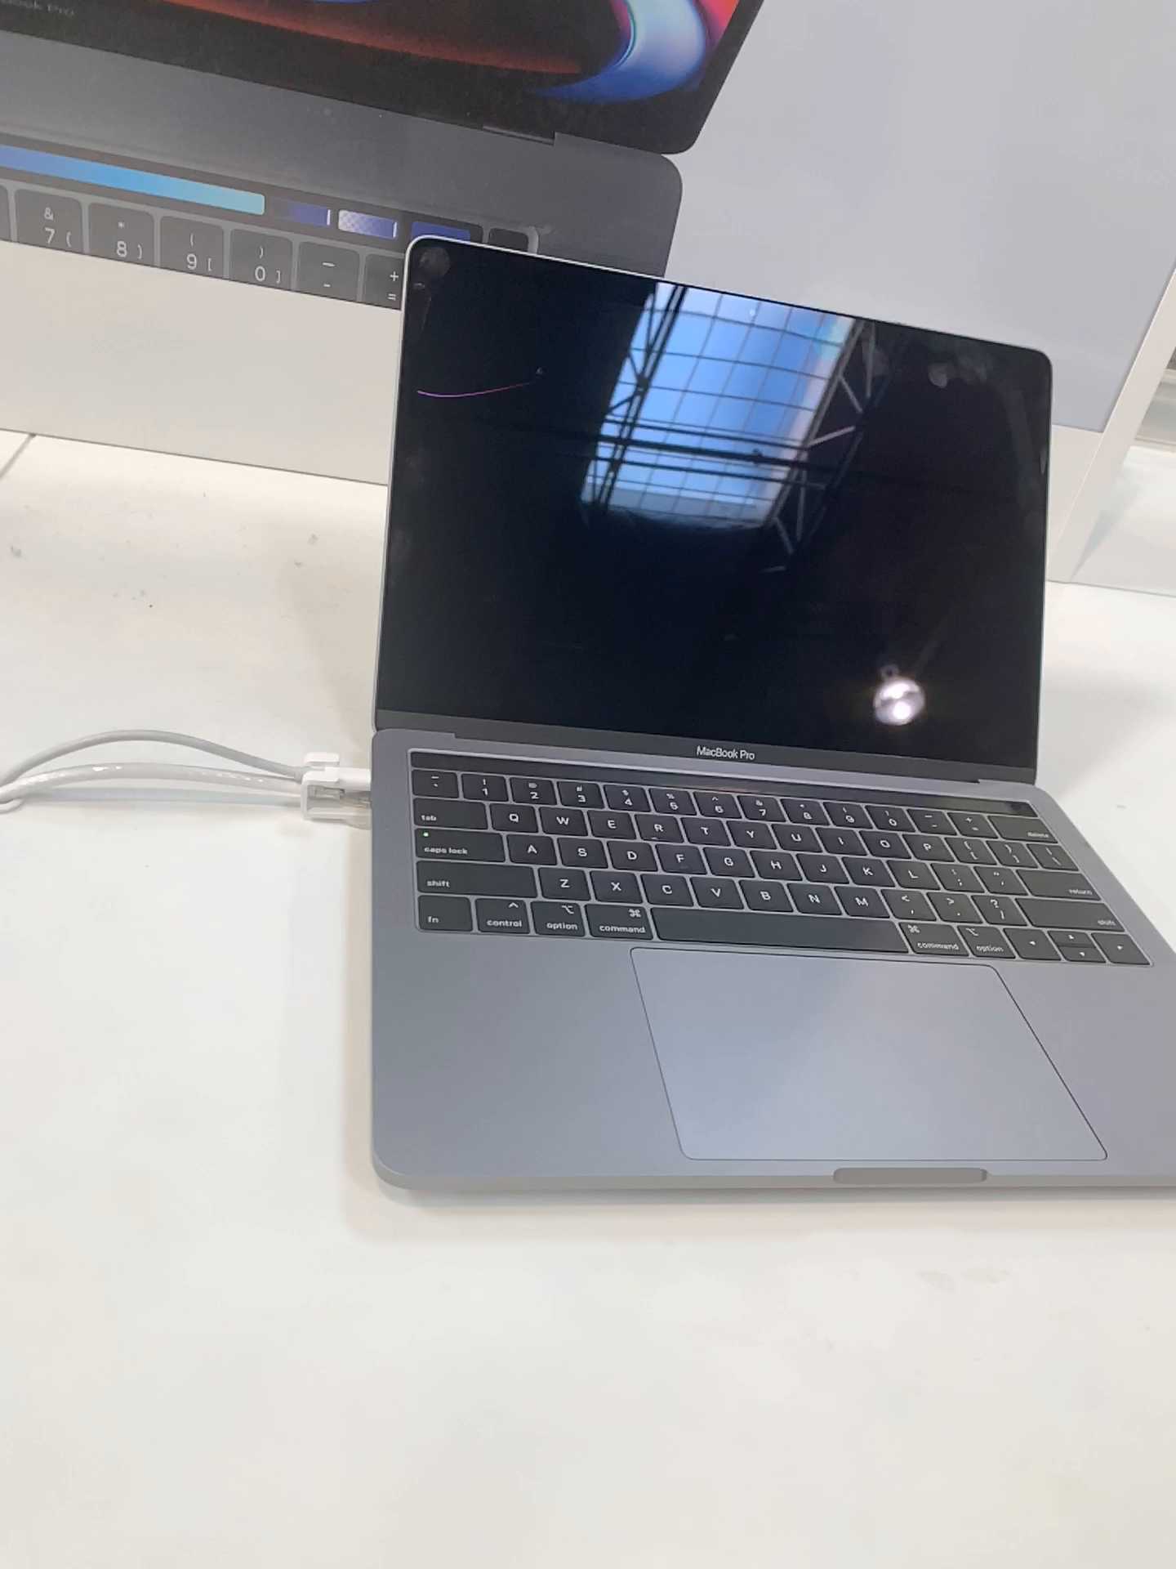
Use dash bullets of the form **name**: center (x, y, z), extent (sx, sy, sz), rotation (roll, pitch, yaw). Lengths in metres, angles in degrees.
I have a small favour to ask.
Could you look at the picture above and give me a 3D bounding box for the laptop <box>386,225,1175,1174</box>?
- **laptop**: center (0.083, -0.050, 0.415), extent (0.284, 0.150, 0.316), rotation (5, 35, -14)
